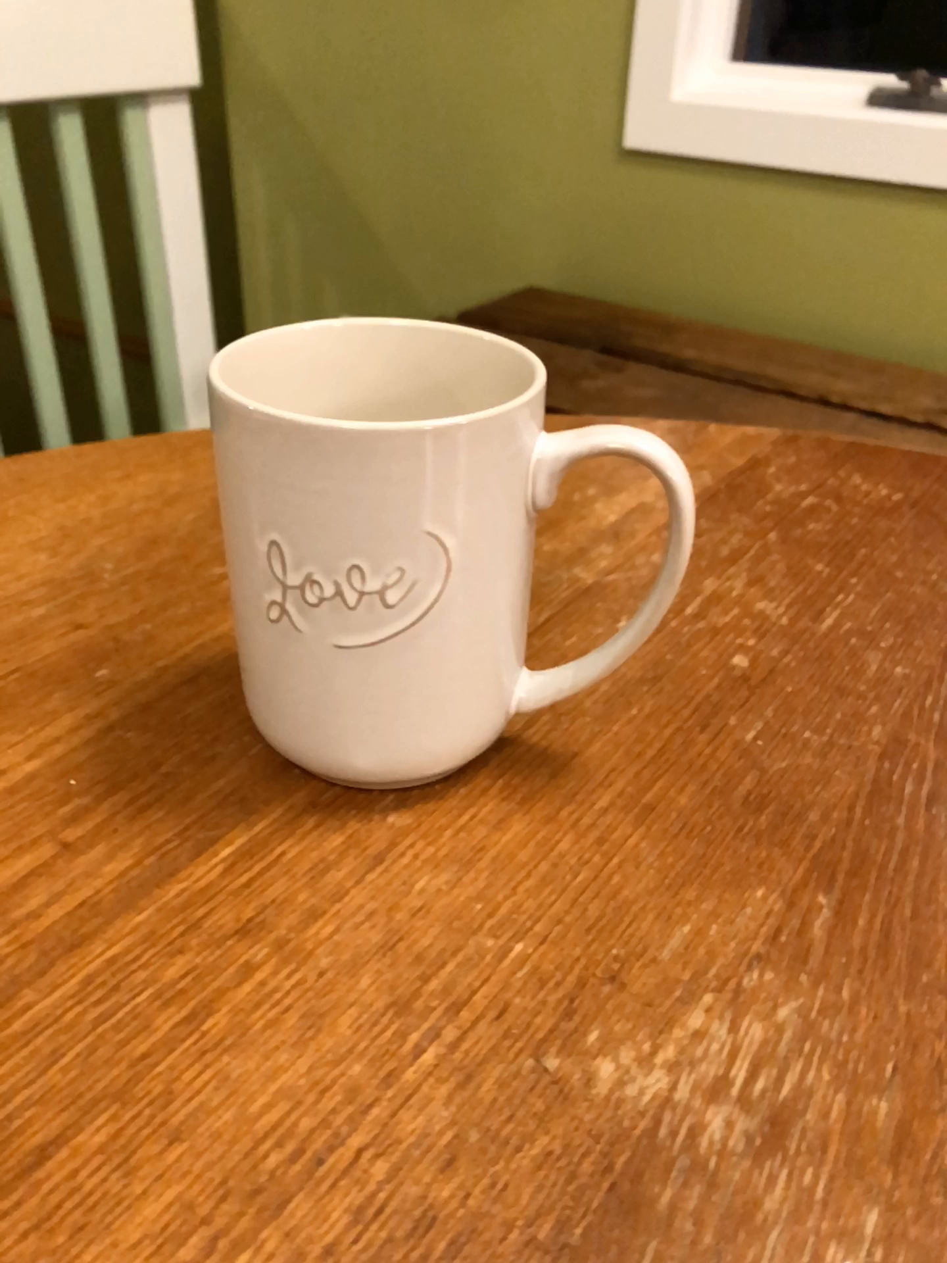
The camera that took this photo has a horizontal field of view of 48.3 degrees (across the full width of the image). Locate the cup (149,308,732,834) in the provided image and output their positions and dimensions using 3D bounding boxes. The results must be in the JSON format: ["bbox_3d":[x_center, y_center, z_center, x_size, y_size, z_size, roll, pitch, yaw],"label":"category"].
[{"bbox_3d":[-0.009,-0.020,0.315,0.134,0.124,0.092,2,32,0],"label":"cup"}]
